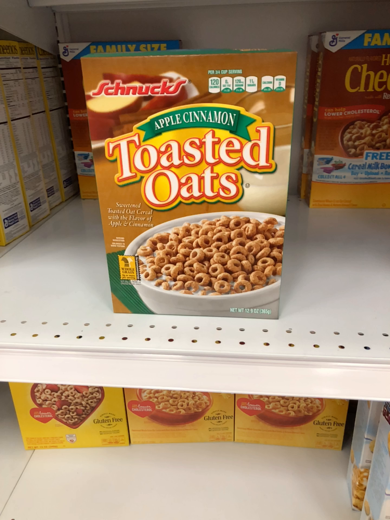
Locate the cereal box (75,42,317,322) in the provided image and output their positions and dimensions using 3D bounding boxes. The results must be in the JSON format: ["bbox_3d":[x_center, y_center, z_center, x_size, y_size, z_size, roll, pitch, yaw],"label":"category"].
[{"bbox_3d":[0.002,-0.074,0.459,0.210,0.279,0.060,2,25,5],"label":"cereal box"}]
